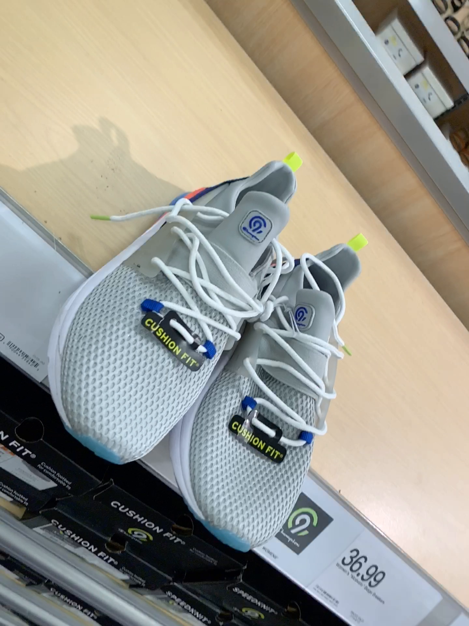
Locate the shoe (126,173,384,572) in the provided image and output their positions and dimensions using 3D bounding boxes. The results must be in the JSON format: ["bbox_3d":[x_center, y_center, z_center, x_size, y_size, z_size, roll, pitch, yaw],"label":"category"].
[{"bbox_3d":[0.037,0.029,0.366,0.110,0.090,0.271,40,44,-23],"label":"shoe"}]

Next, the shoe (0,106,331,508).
[{"bbox_3d":[-0.026,-0.024,0.338,0.110,0.090,0.271,45,43,-19],"label":"shoe"}]
